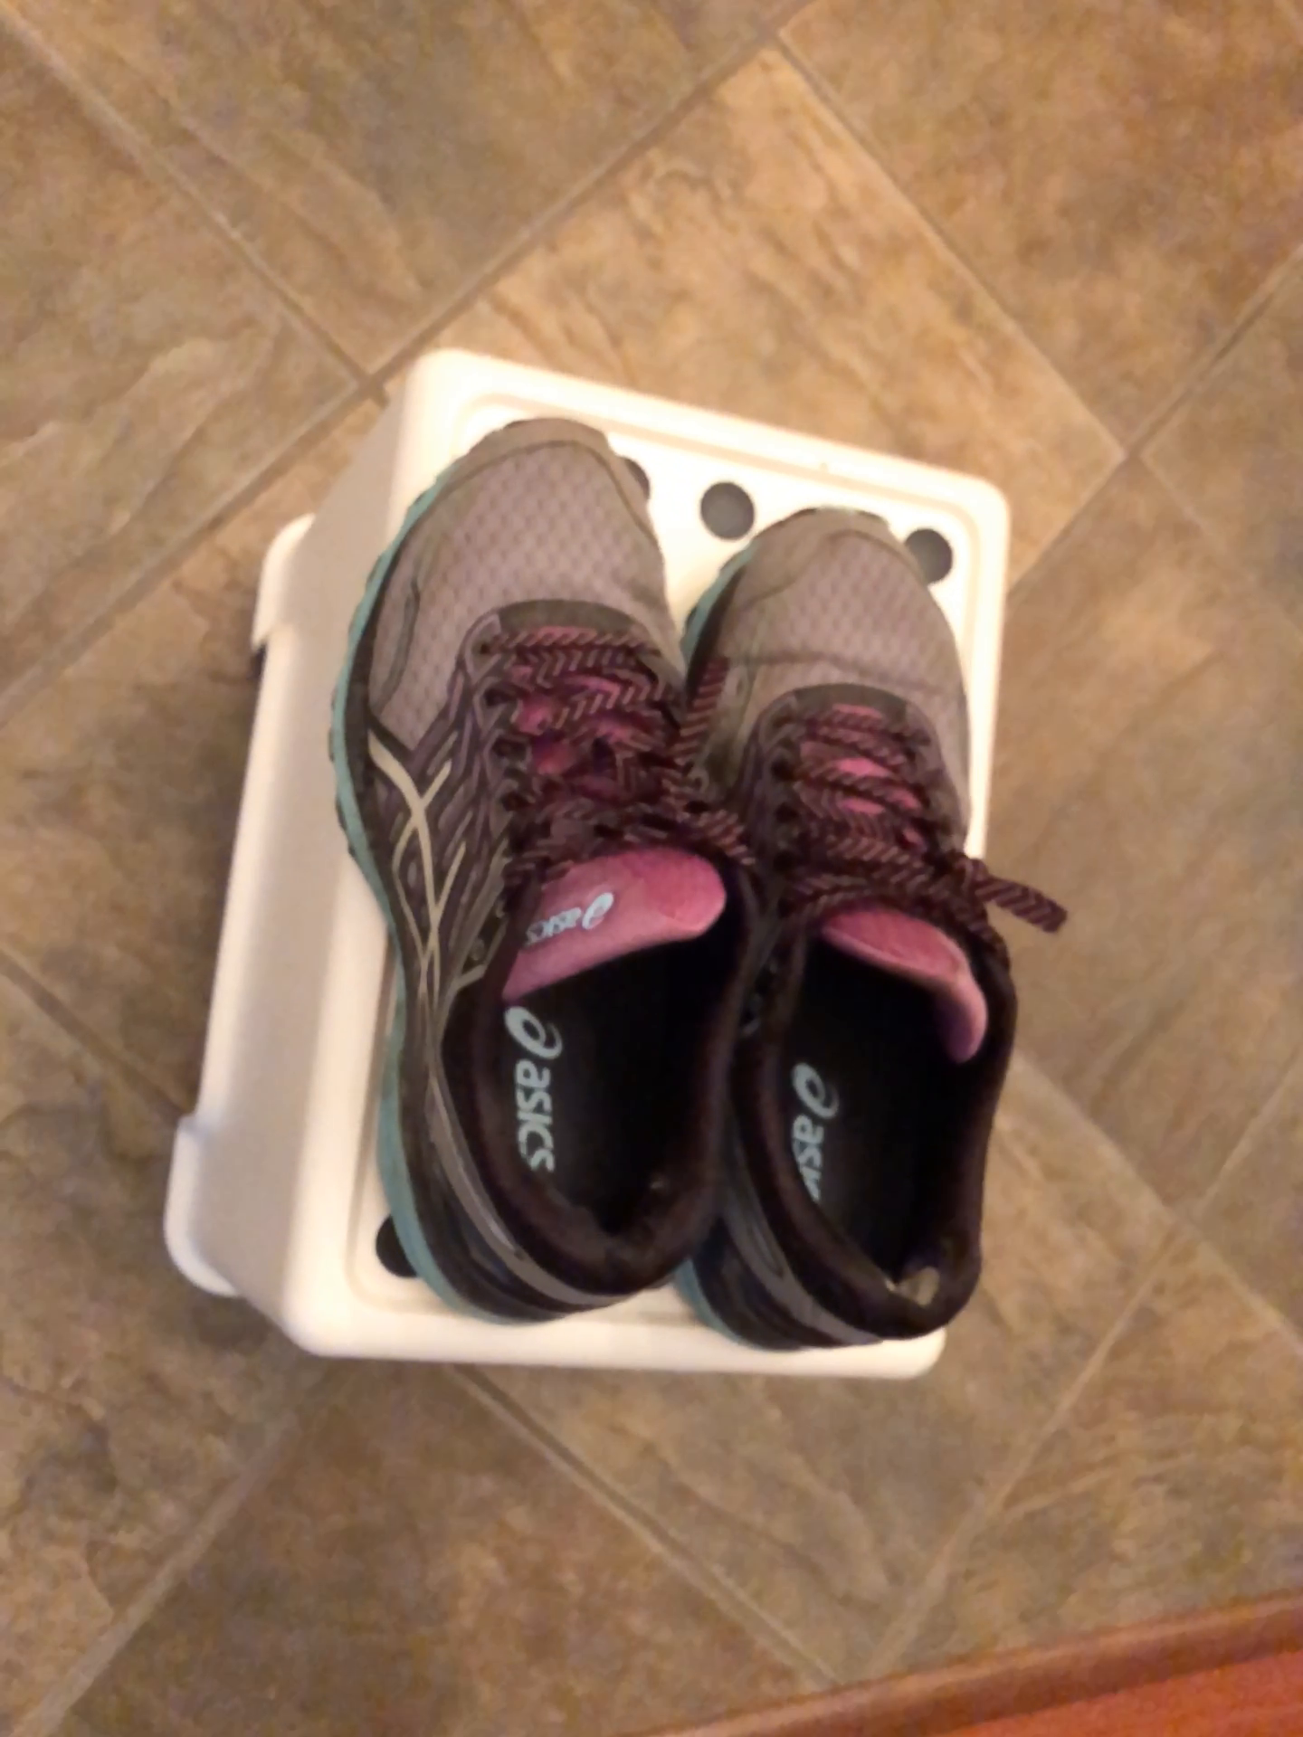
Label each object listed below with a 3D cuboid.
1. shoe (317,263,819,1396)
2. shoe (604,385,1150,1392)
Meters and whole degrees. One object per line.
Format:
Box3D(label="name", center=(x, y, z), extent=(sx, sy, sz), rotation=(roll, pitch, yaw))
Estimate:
Box3D(label="shoe", center=(-0.032, -0.008, 0.404), extent=(0.110, 0.120, 0.260), rotation=(0, 85, -17))
Box3D(label="shoe", center=(0.064, 0.011, 0.444), extent=(0.110, 0.120, 0.260), rotation=(6, 83, -17))
